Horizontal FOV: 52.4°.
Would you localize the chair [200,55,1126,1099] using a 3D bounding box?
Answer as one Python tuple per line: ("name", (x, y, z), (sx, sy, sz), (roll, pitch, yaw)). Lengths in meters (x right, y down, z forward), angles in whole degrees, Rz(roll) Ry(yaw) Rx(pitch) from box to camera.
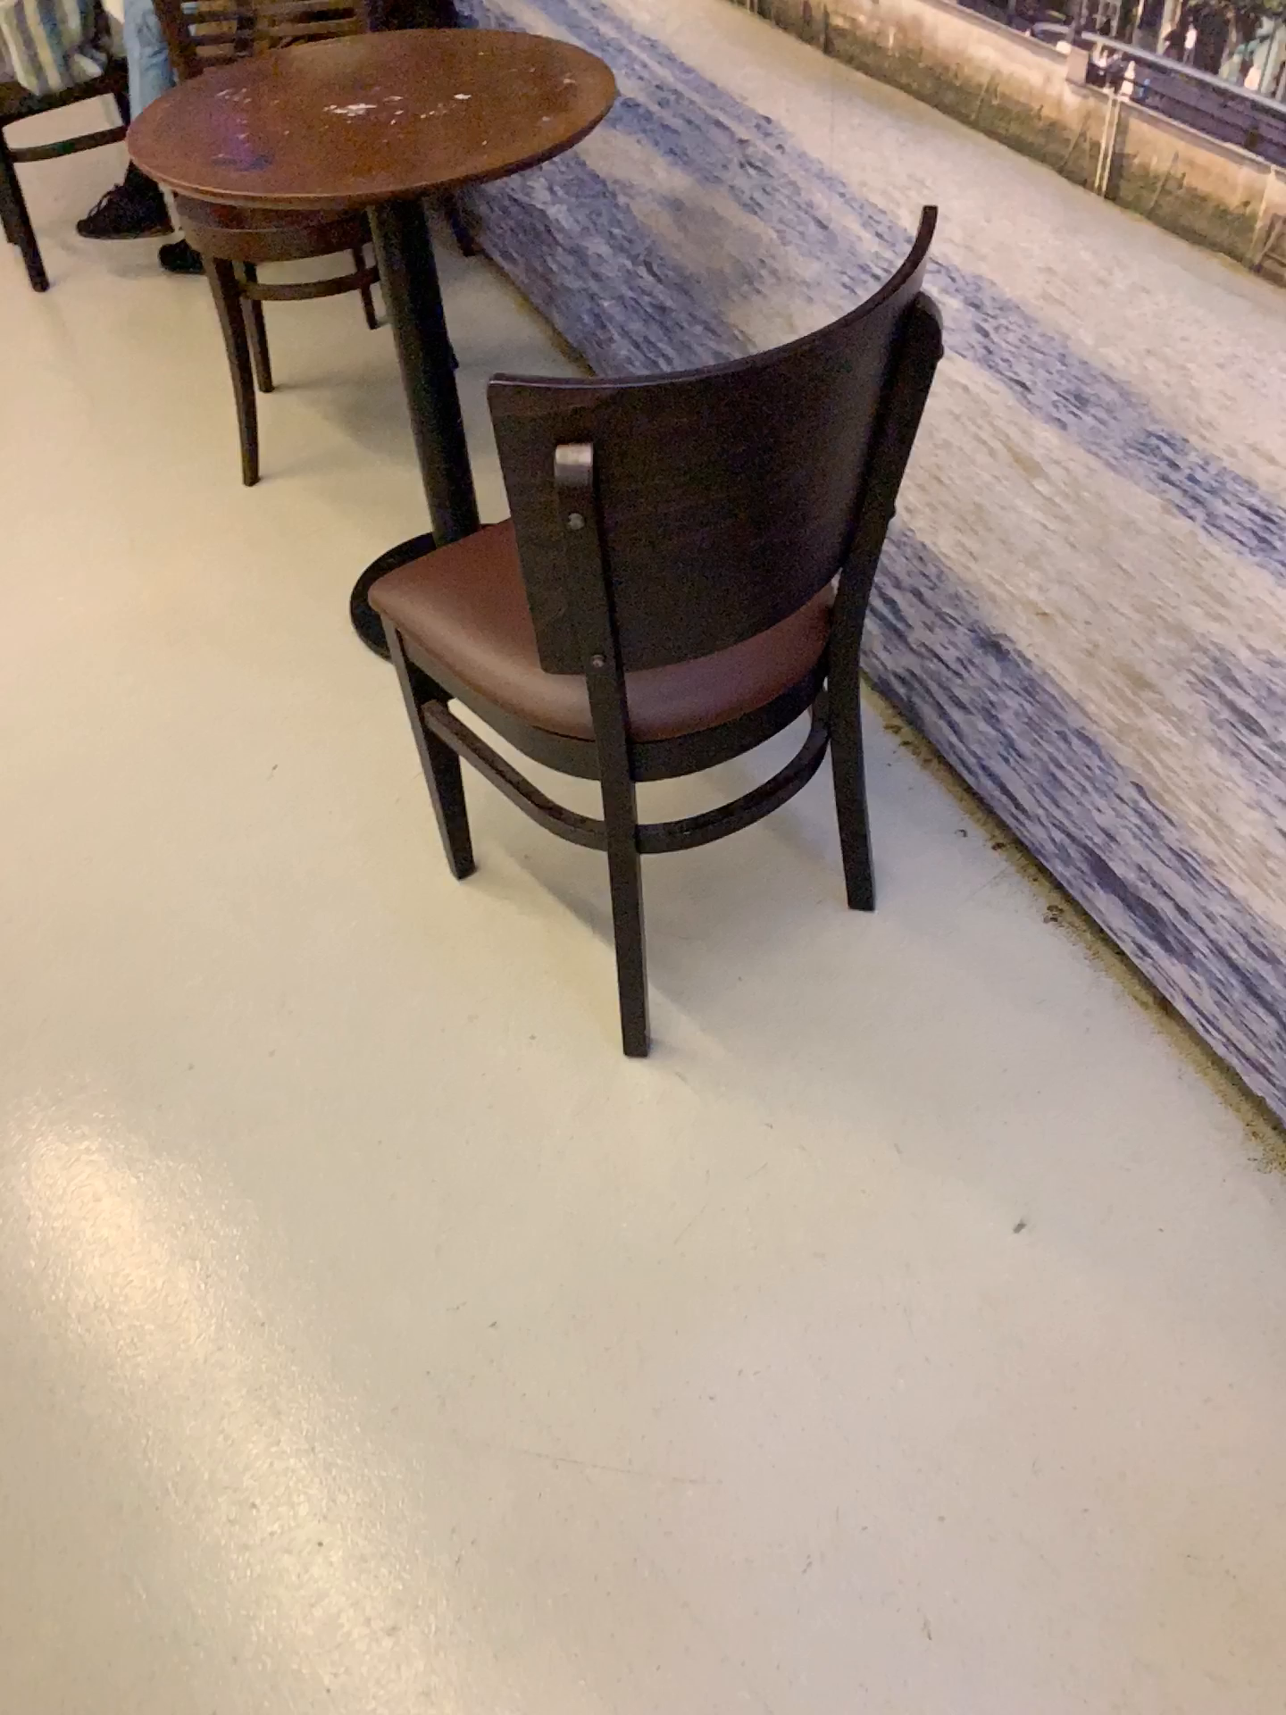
("chair", (0.019, -0.281, 1.314), (0.559, 0.729, 0.520), (-27, 49, -20))
